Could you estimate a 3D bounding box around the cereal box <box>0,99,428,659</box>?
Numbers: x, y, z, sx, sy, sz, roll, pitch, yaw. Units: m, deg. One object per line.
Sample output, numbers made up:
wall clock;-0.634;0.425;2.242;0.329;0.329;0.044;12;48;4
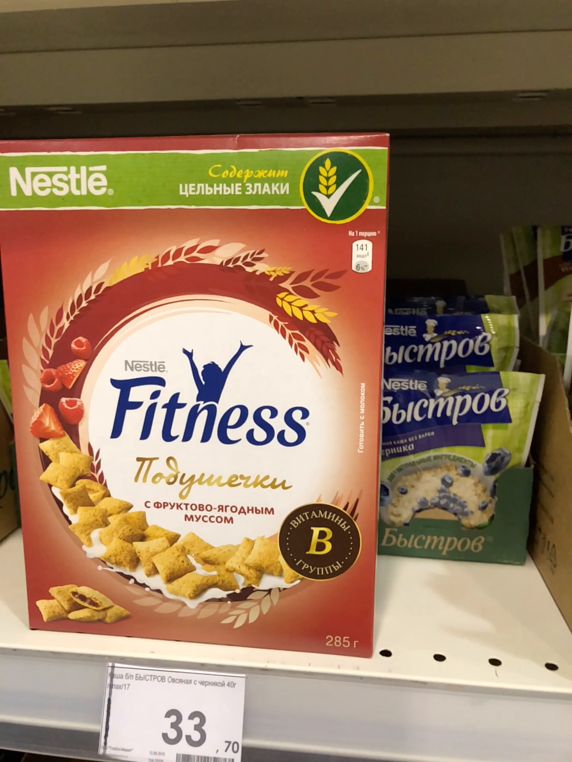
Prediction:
cereal box;-0.032;0.002;0.301;0.180;0.239;0.050;2;11;7
